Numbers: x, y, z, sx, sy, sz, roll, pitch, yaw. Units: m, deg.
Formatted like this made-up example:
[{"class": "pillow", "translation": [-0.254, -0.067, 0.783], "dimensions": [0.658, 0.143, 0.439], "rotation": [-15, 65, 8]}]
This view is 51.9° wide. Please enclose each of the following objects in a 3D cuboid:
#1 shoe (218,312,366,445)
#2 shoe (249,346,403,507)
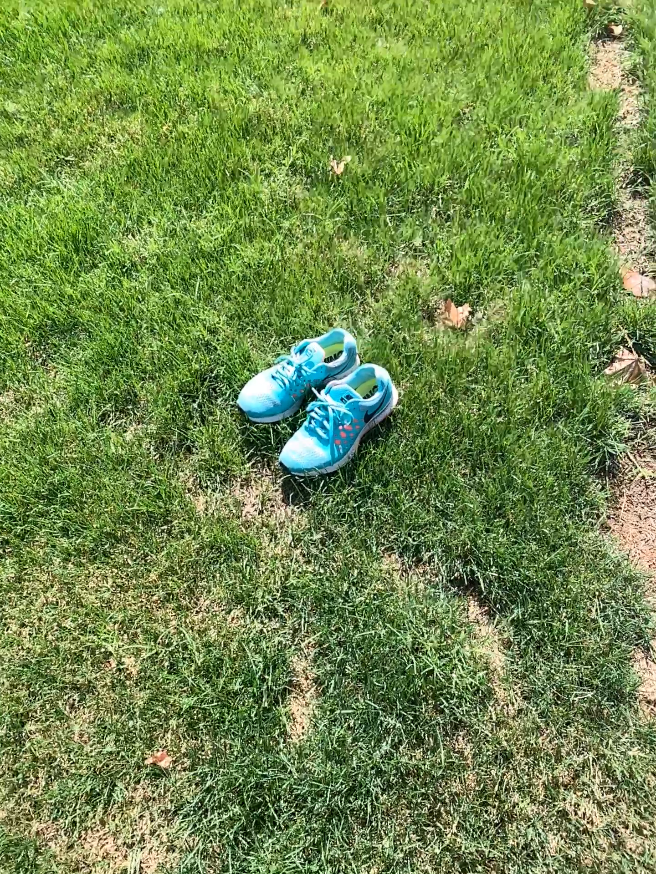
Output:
[{"class": "shoe", "translation": [-0.060, -0.108, 1.222], "dimensions": [0.250, 0.080, 0.100], "rotation": [-34, 63, -15]}, {"class": "shoe", "translation": [0.002, -0.020, 1.176], "dimensions": [0.110, 0.100, 0.260], "rotation": [38, 69, 23]}]
